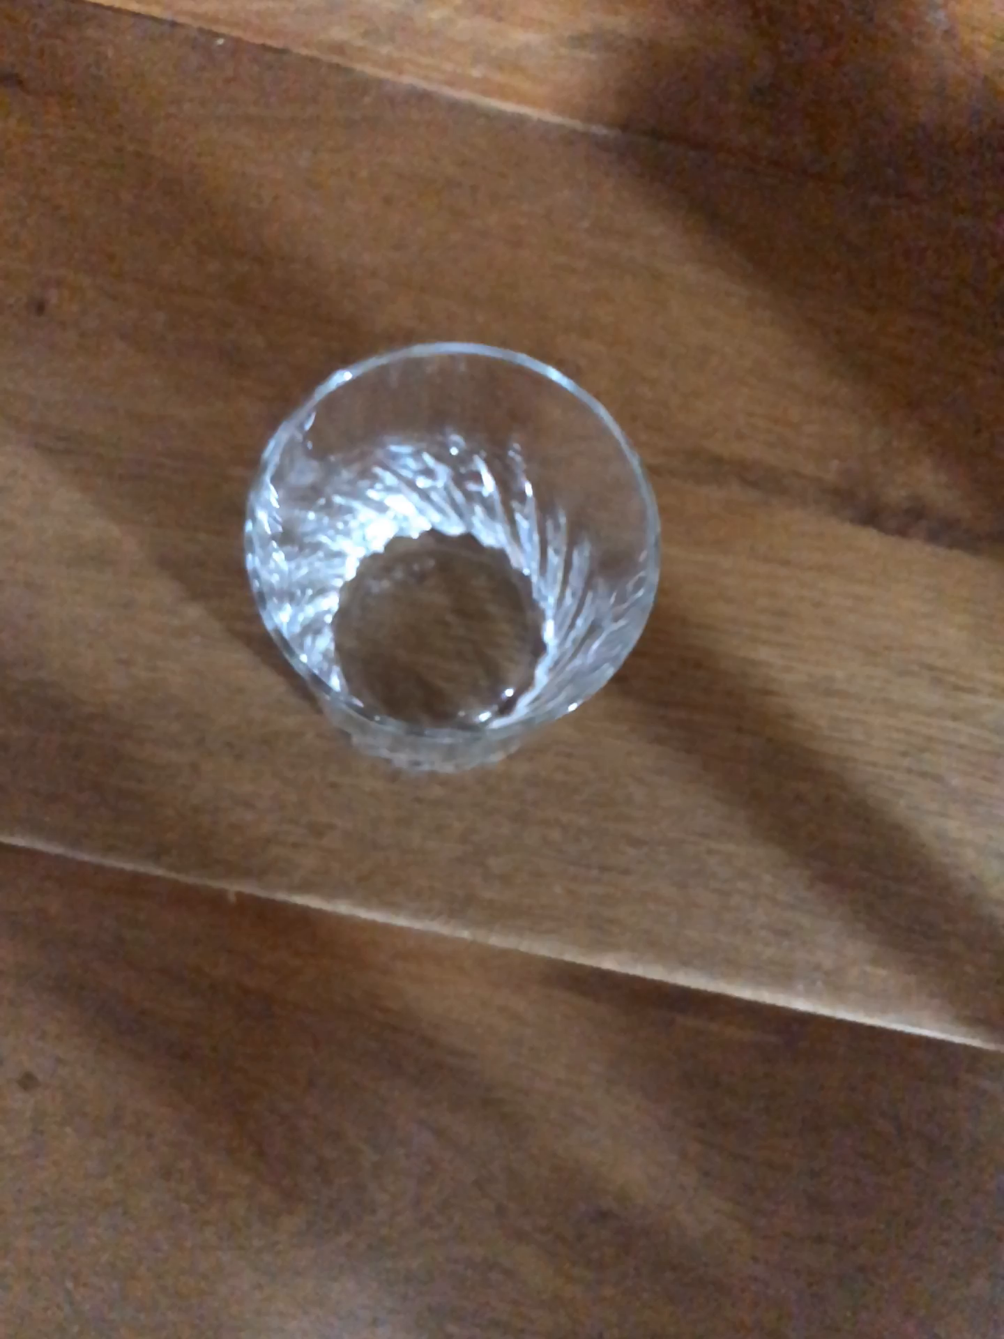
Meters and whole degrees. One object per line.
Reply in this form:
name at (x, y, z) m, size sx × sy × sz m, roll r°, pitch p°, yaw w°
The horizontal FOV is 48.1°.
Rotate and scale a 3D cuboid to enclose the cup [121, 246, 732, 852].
cup at (-0.019, -0.020, 0.255) m, size 0.090 × 0.090 × 0.090 m, roll 1°, pitch 77°, yaw -6°
